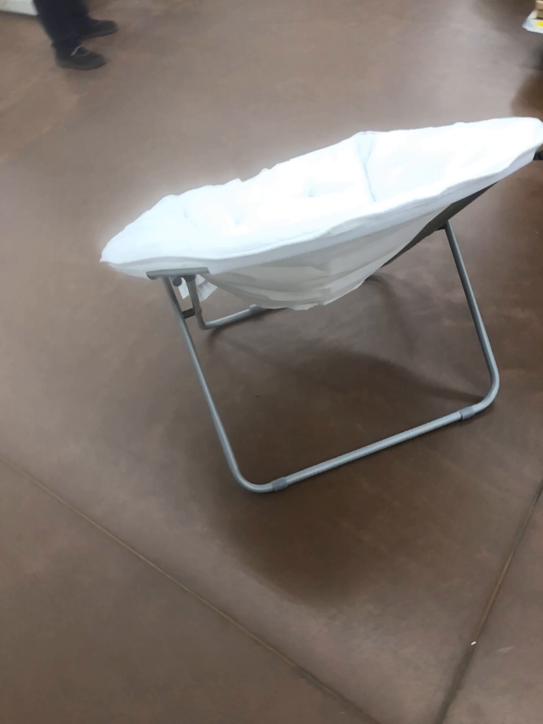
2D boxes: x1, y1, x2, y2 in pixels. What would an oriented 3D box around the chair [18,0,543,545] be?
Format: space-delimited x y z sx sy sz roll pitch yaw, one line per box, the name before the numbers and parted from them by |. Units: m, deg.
chair | 0.048 -0.250 1.160 0.760 0.648 0.752 -19 50 -6
